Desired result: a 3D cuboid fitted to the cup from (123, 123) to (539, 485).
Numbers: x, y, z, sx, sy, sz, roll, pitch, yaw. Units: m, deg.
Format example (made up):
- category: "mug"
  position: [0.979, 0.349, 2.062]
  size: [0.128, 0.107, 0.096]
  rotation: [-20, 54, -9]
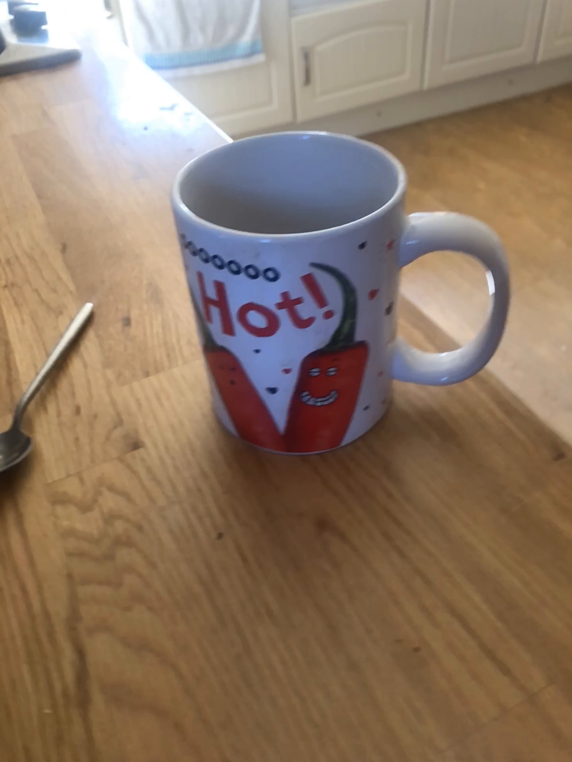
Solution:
- category: "cup"
  position: [0.024, -0.037, 0.277]
  size: [0.136, 0.109, 0.098]
  rotation: [6, 43, 12]
